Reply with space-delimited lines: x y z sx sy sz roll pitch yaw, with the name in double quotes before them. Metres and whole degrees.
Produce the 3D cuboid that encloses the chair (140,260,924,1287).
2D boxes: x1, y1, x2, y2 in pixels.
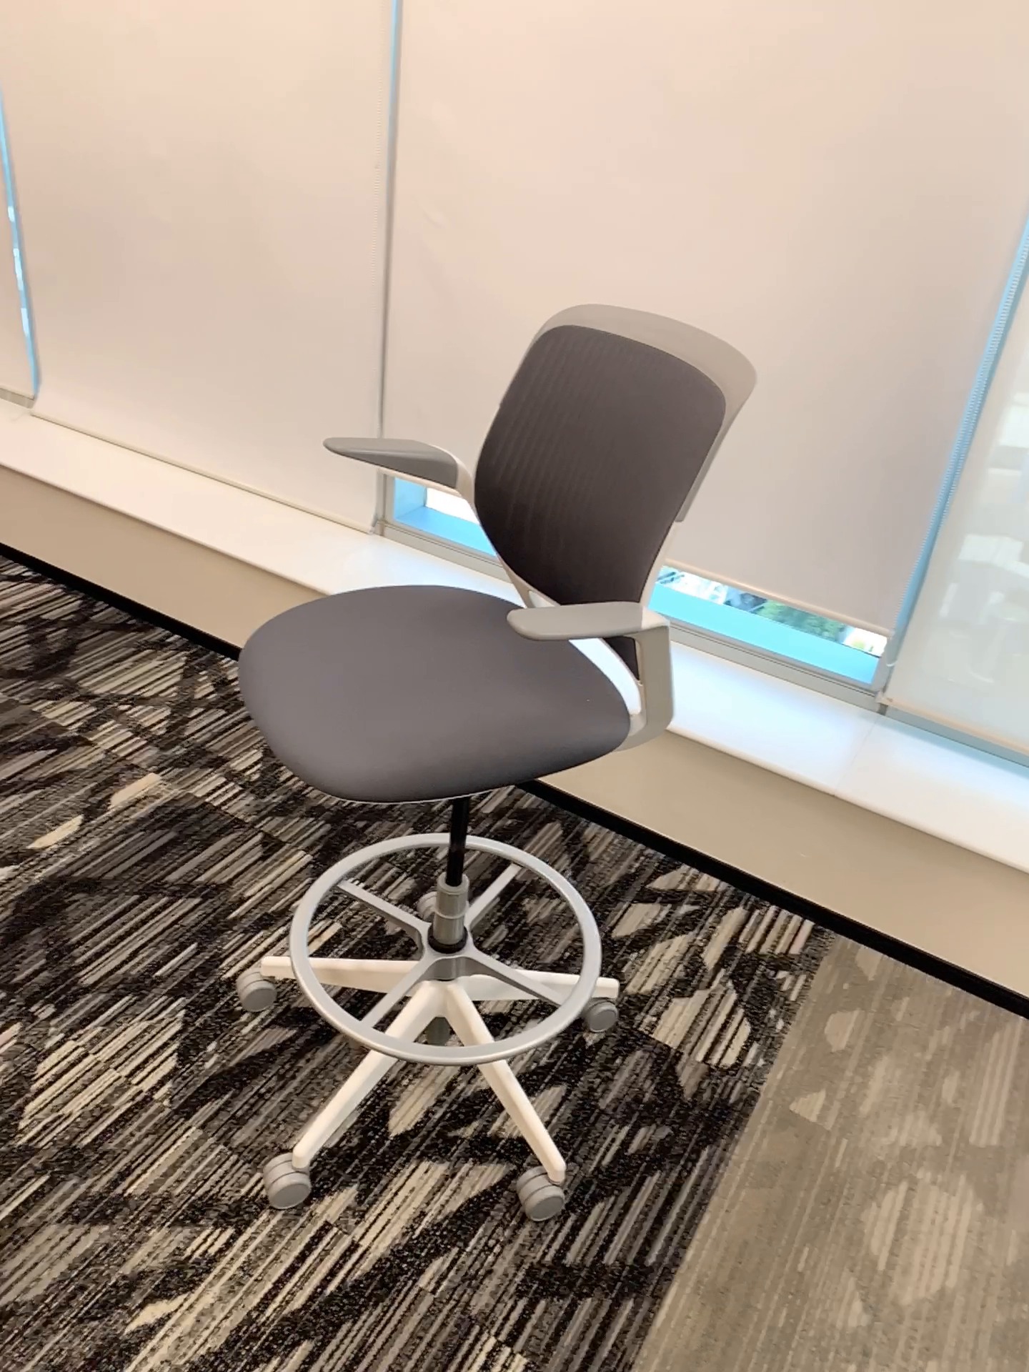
"chair" -0.092 0.081 1.485 0.691 1.140 0.695 -7 33 -22
